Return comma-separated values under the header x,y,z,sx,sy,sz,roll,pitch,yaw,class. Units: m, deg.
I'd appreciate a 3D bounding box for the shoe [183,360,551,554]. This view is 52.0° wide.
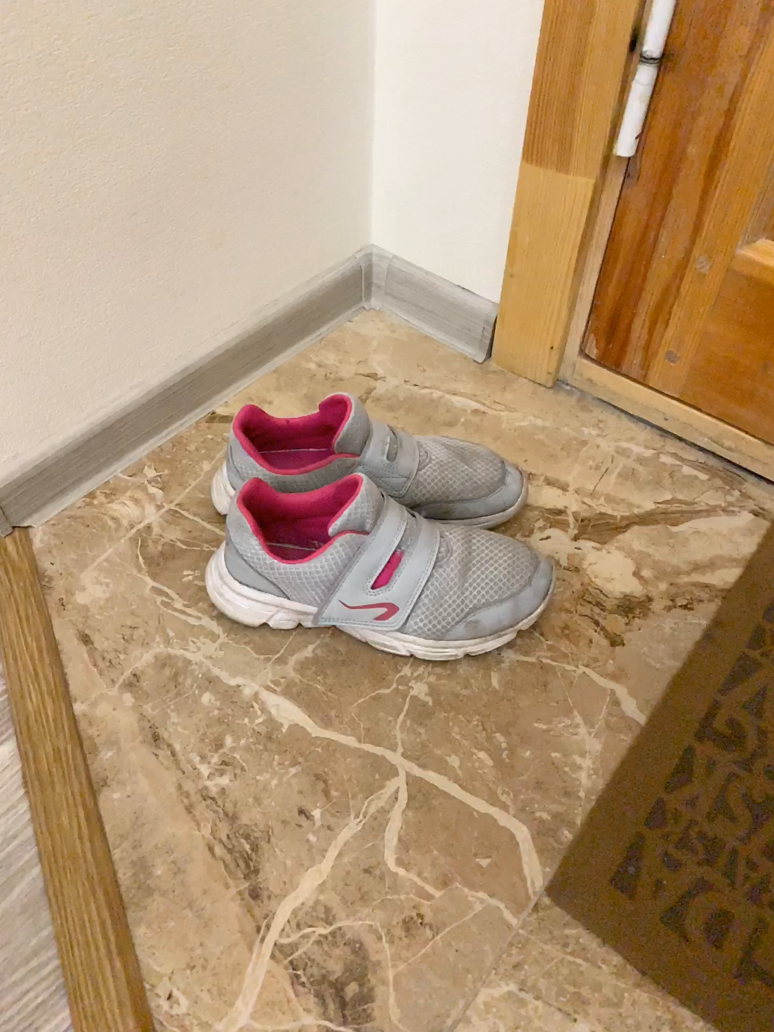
x,y,z,sx,sy,sz,roll,pitch,yaw,class
-0.015,-0.044,0.610,0.250,0.100,0.100,2,48,-1,shoe

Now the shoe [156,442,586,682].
x,y,z,sx,sy,sz,roll,pitch,yaw,class
-0.008,0.032,0.548,0.260,0.100,0.100,5,48,3,shoe
